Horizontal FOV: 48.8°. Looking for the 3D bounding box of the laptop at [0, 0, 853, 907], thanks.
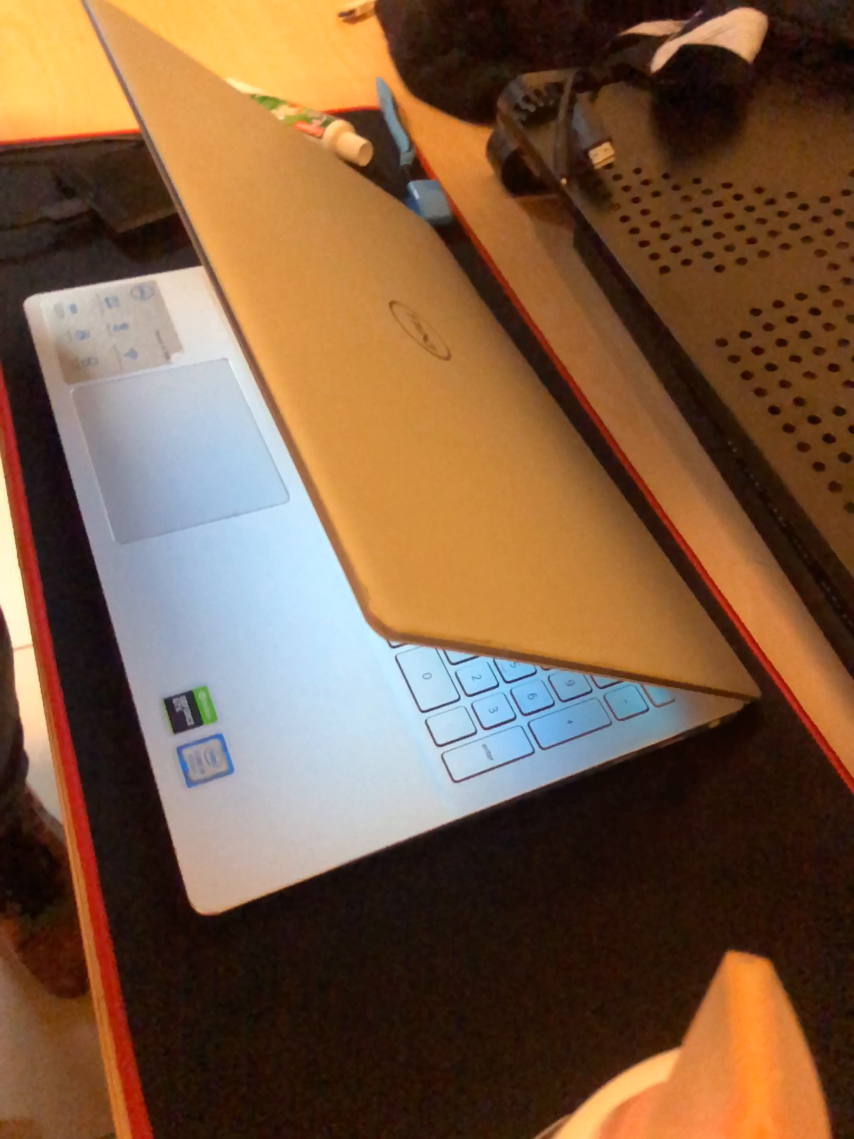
[{"bbox_3d":[-0.031,-0.087,0.401,0.218,0.139,0.352,-17,55,-16],"label":"laptop"}]
